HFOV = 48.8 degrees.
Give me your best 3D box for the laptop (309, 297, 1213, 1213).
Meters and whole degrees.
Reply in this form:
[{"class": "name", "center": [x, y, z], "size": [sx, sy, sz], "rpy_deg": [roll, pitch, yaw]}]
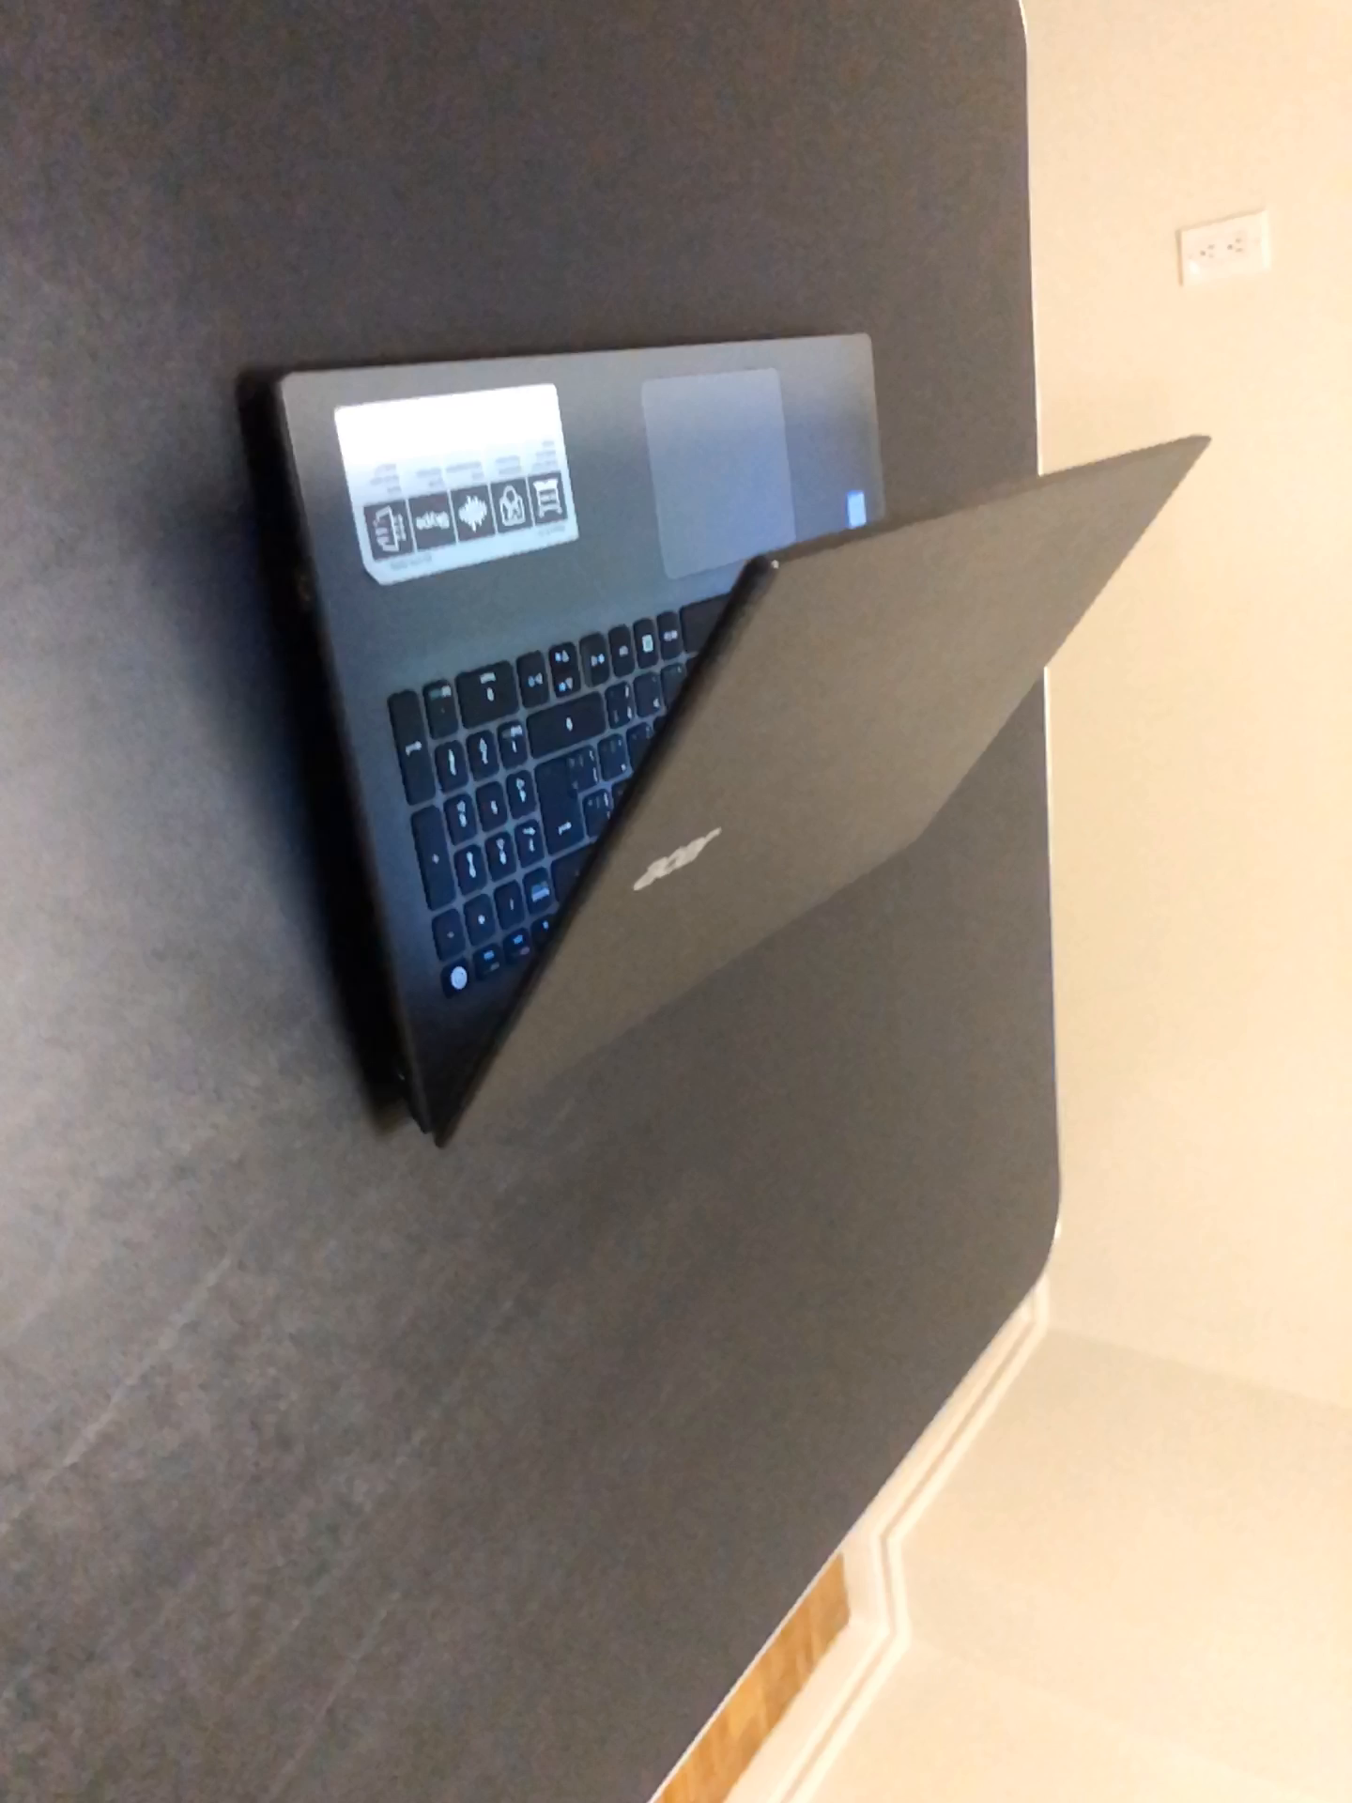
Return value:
[{"class": "laptop", "center": [0.075, -0.092, 0.586], "size": [0.371, 0.155, 0.251], "rpy_deg": [-30, 118, -50]}]
